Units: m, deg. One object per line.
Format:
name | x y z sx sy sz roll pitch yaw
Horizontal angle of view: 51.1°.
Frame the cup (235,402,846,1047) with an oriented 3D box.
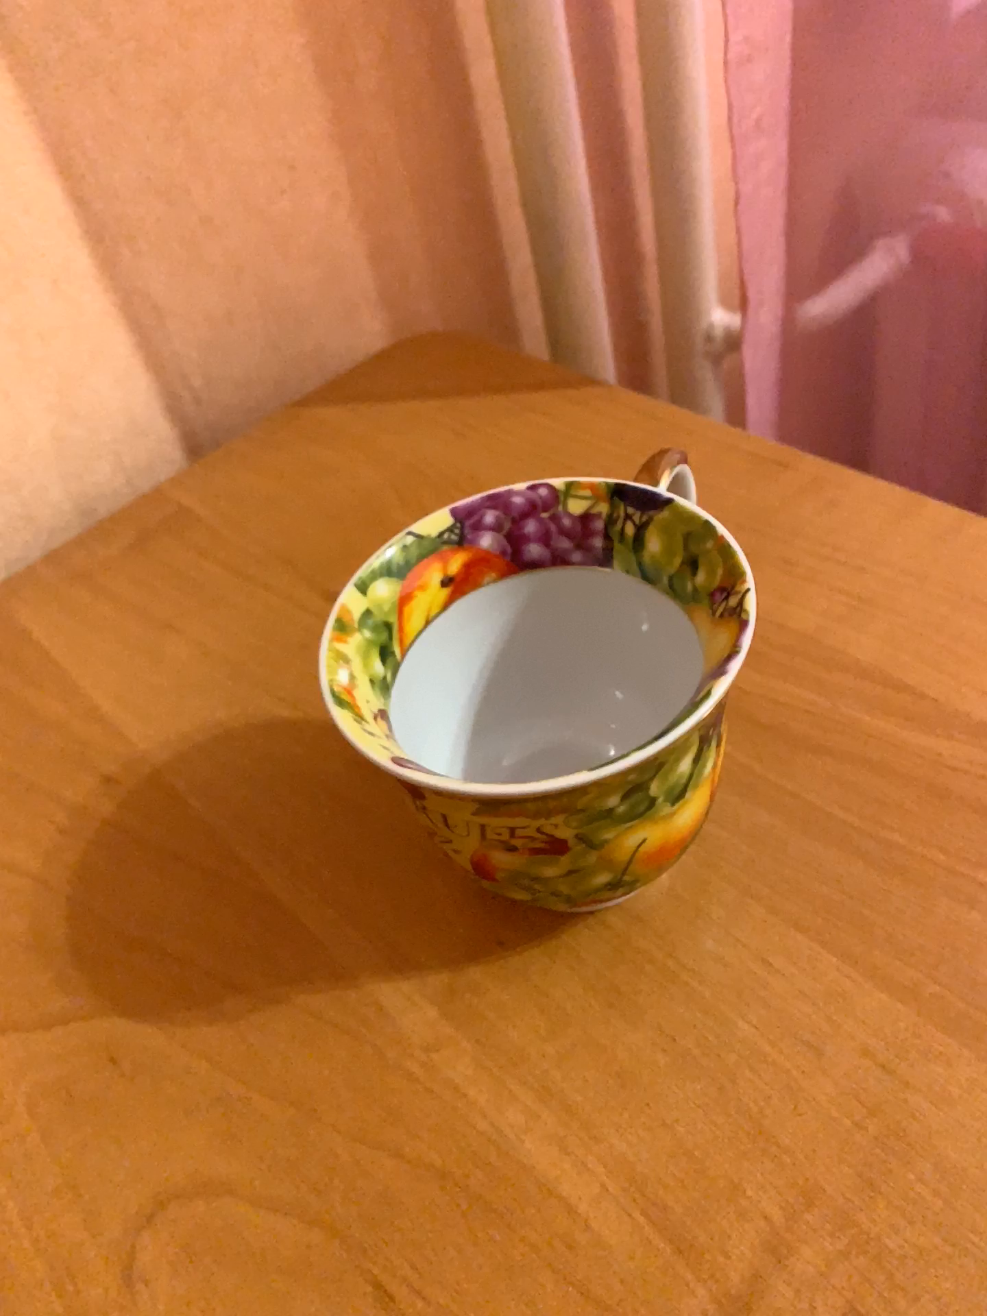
cup | 0.020 0.007 0.228 0.086 0.071 0.106 12 50 27
